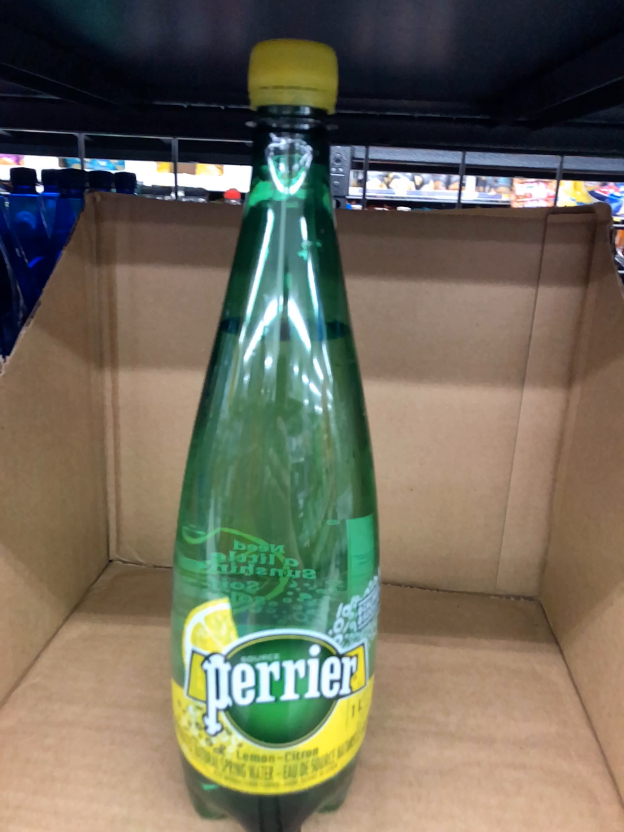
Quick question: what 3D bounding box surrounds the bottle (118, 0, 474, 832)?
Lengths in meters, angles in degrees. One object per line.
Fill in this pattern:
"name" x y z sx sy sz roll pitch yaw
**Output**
"bottle" -0.013 0.020 0.276 0.100 0.318 0.080 2 17 -3
